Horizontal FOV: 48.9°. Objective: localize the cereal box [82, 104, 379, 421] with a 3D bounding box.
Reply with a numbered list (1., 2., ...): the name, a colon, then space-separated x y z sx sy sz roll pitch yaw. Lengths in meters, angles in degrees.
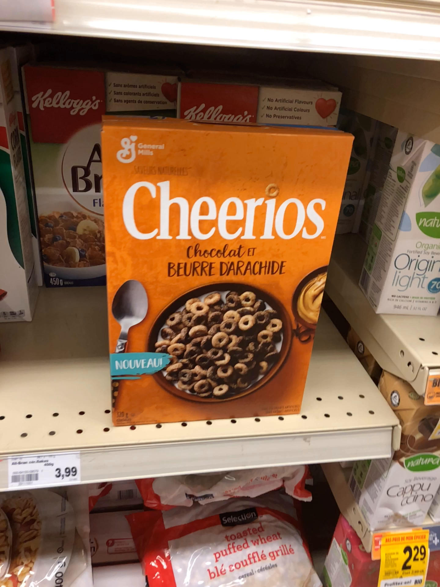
1. cereal box: -0.001 -0.013 0.423 0.210 0.268 0.050 -1 30 -10
